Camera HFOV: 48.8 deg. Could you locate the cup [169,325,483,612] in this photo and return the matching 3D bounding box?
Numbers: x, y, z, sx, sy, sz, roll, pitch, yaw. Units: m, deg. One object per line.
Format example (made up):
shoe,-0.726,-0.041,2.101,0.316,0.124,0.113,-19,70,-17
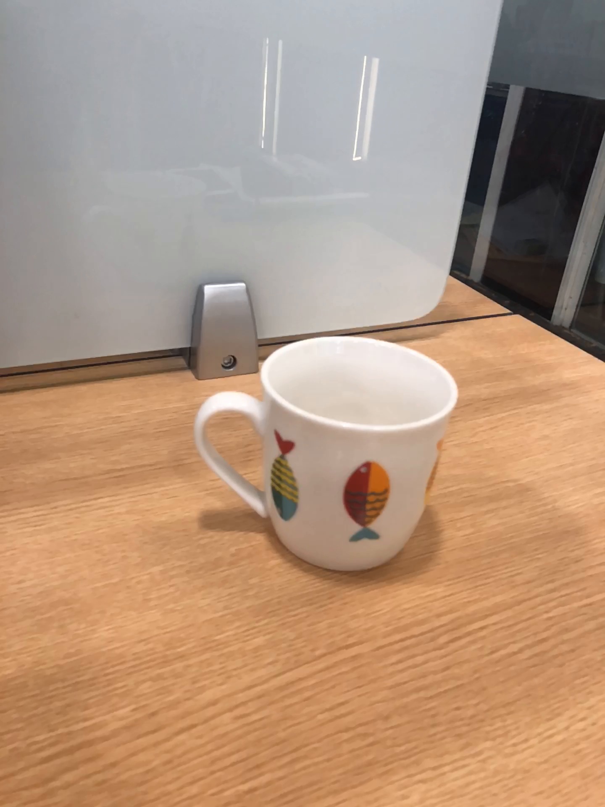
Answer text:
cup,0.002,0.026,0.287,0.110,0.090,0.080,1,30,-8
